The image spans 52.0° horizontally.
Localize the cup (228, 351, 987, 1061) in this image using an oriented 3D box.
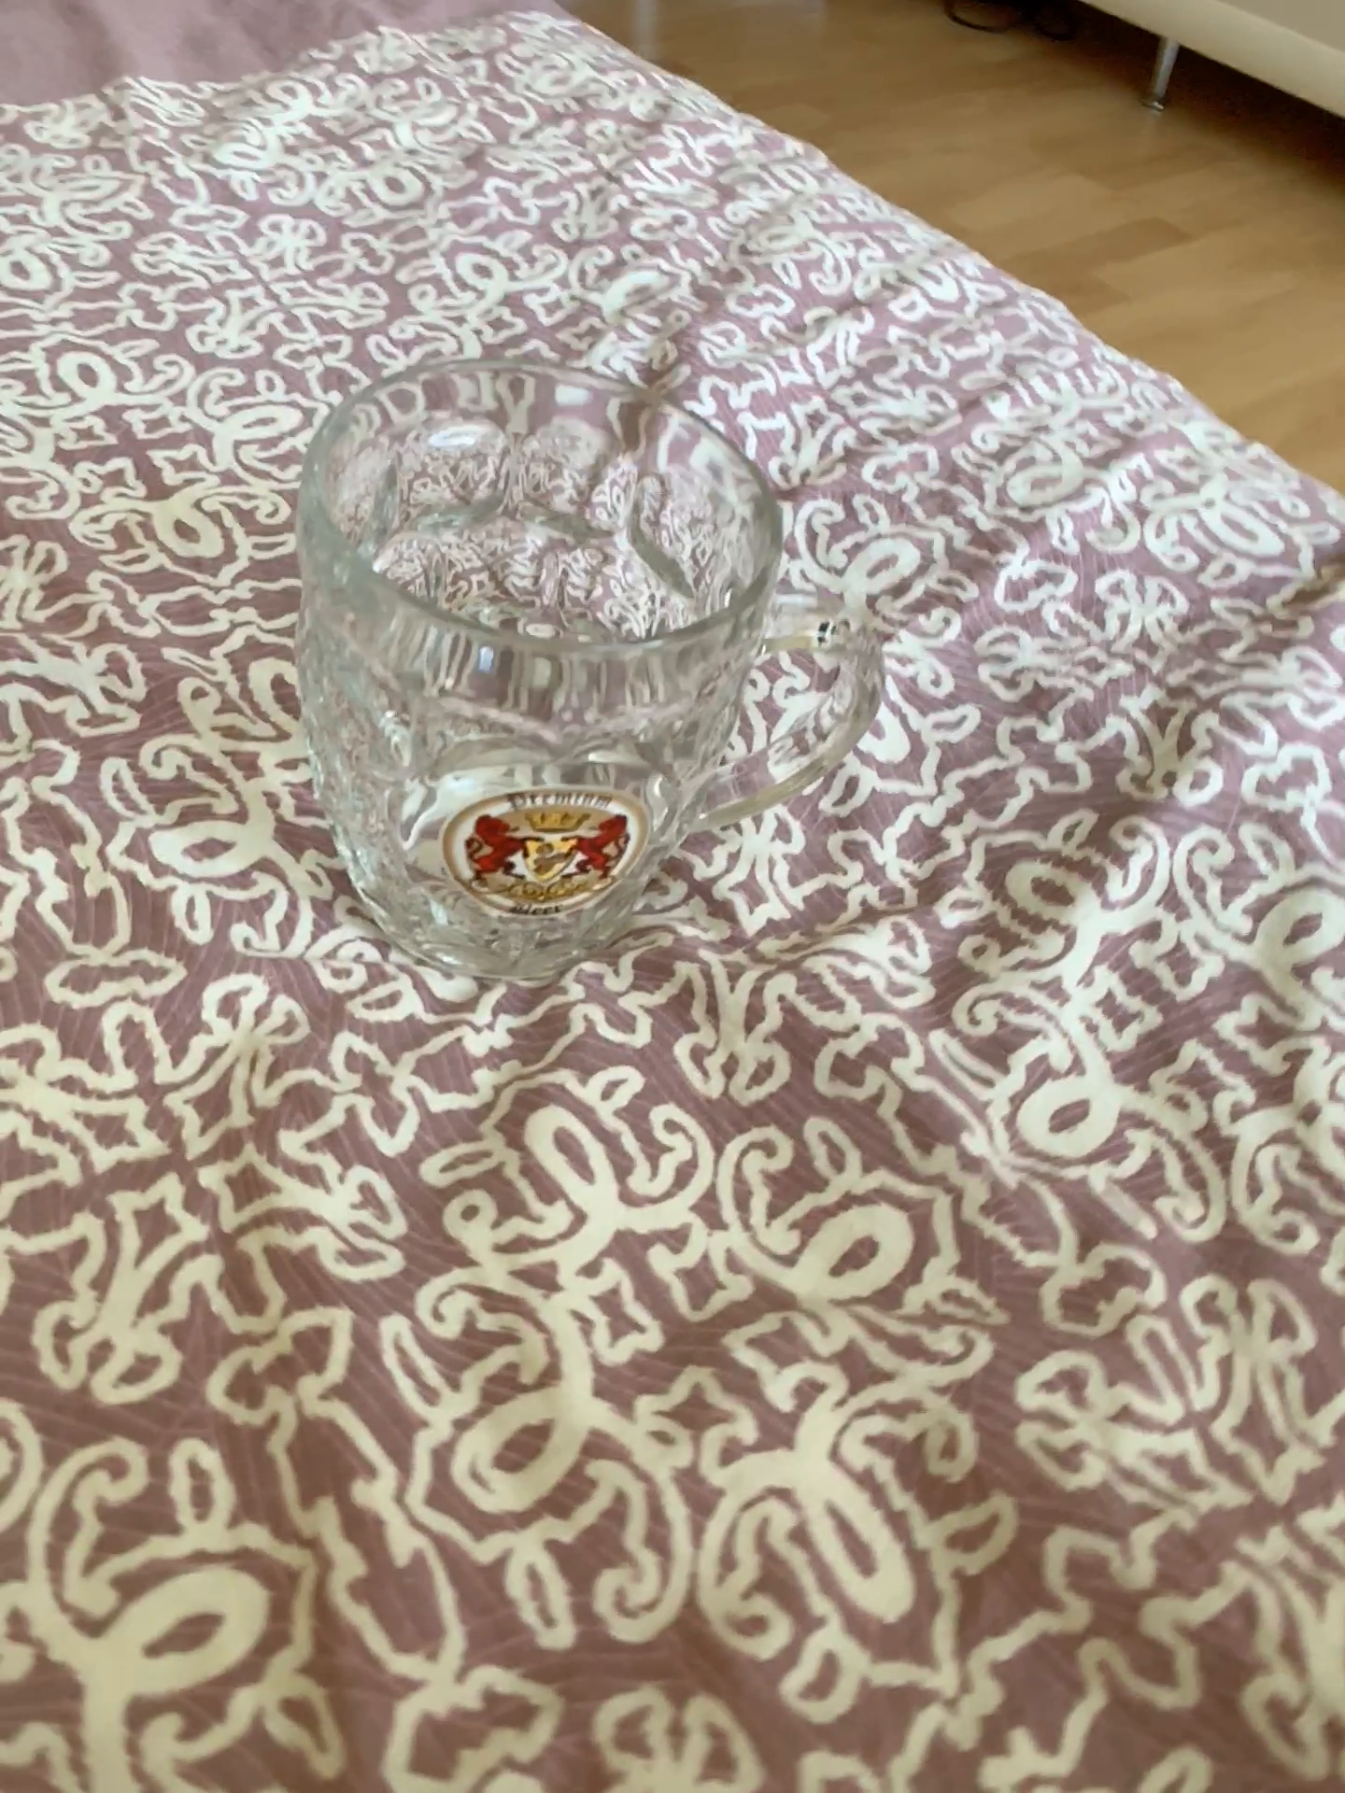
[{"bbox_3d":[-0.023,-0.041,0.284,0.117,0.099,0.094,-7,53,-17],"label":"cup"}]
